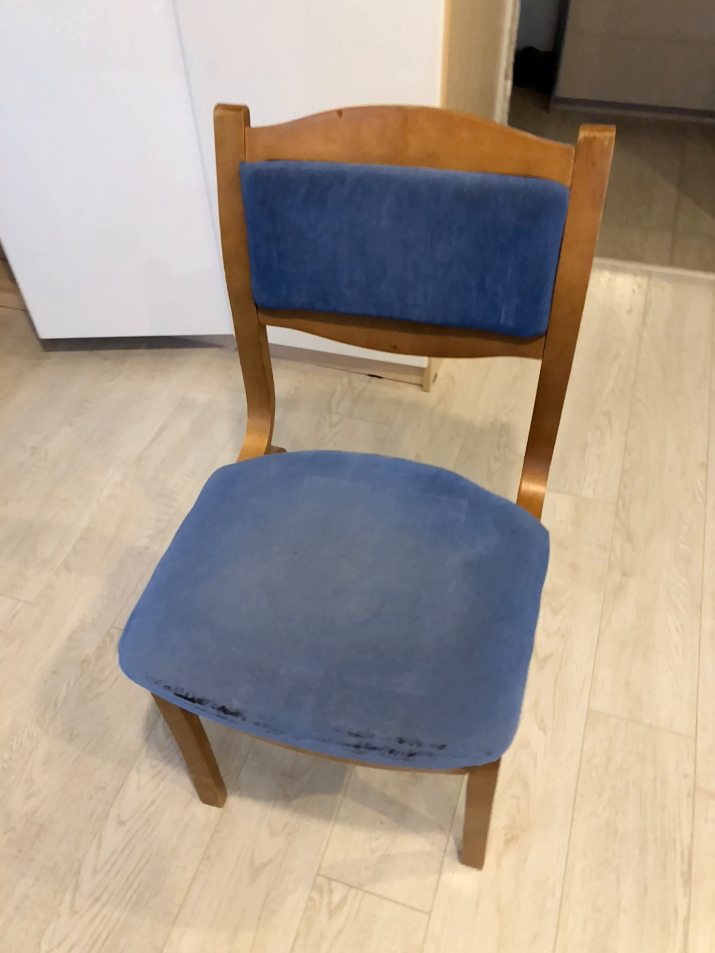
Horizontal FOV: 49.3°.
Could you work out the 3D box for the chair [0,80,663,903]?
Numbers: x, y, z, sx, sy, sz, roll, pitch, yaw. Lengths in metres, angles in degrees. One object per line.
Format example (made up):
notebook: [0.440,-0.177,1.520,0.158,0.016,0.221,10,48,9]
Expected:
chair: [0.017,0.069,0.907,0.450,0.805,0.473,10,49,11]
